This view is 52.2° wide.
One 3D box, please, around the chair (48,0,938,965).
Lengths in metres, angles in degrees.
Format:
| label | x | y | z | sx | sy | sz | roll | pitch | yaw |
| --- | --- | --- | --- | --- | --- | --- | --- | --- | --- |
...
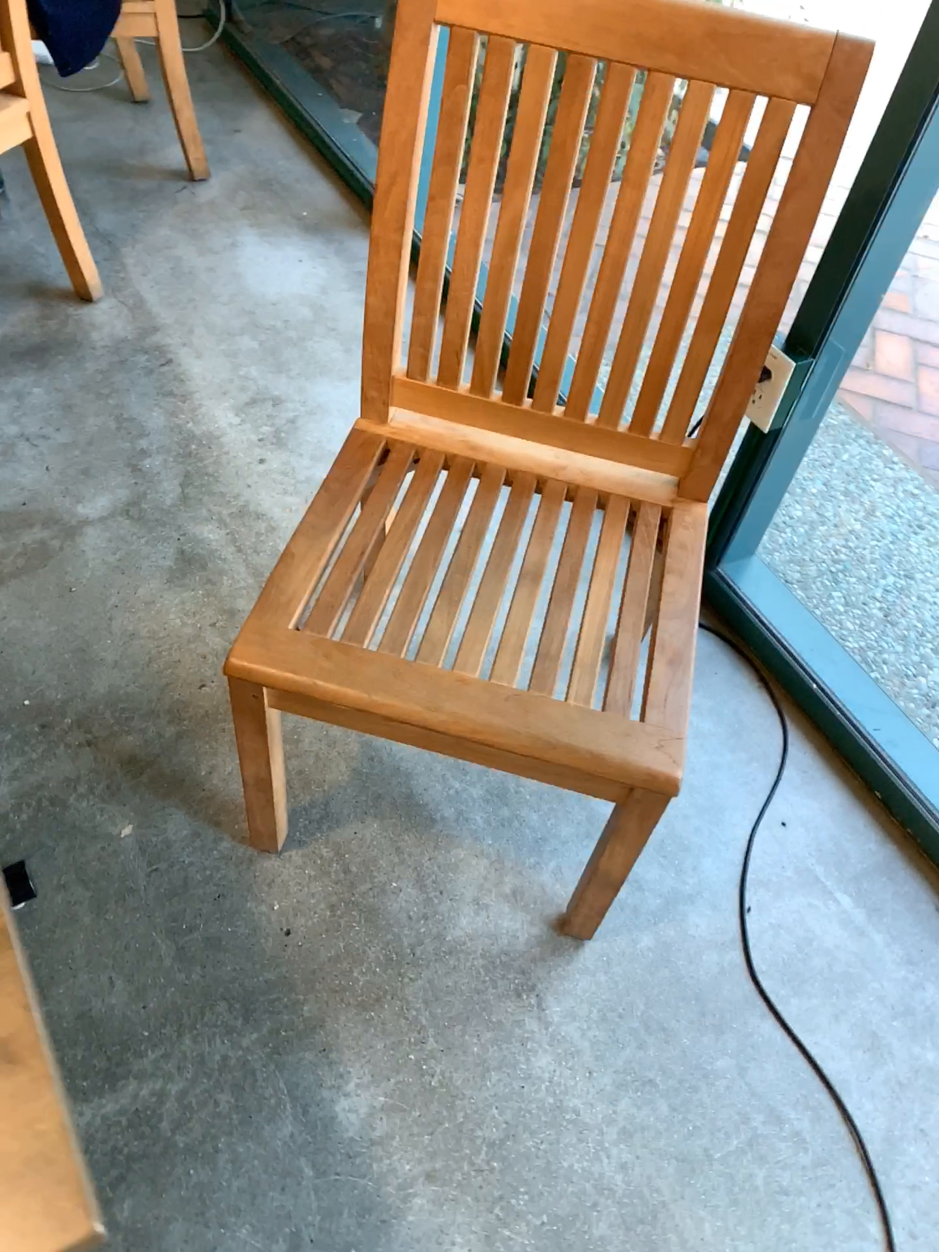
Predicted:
| label | x | y | z | sx | sy | sz | roll | pitch | yaw |
| --- | --- | --- | --- | --- | --- | --- | --- | --- | --- |
| chair | 0.026 | -0.143 | 1.096 | 0.530 | 0.916 | 0.613 | 15 | 51 | 4 |
